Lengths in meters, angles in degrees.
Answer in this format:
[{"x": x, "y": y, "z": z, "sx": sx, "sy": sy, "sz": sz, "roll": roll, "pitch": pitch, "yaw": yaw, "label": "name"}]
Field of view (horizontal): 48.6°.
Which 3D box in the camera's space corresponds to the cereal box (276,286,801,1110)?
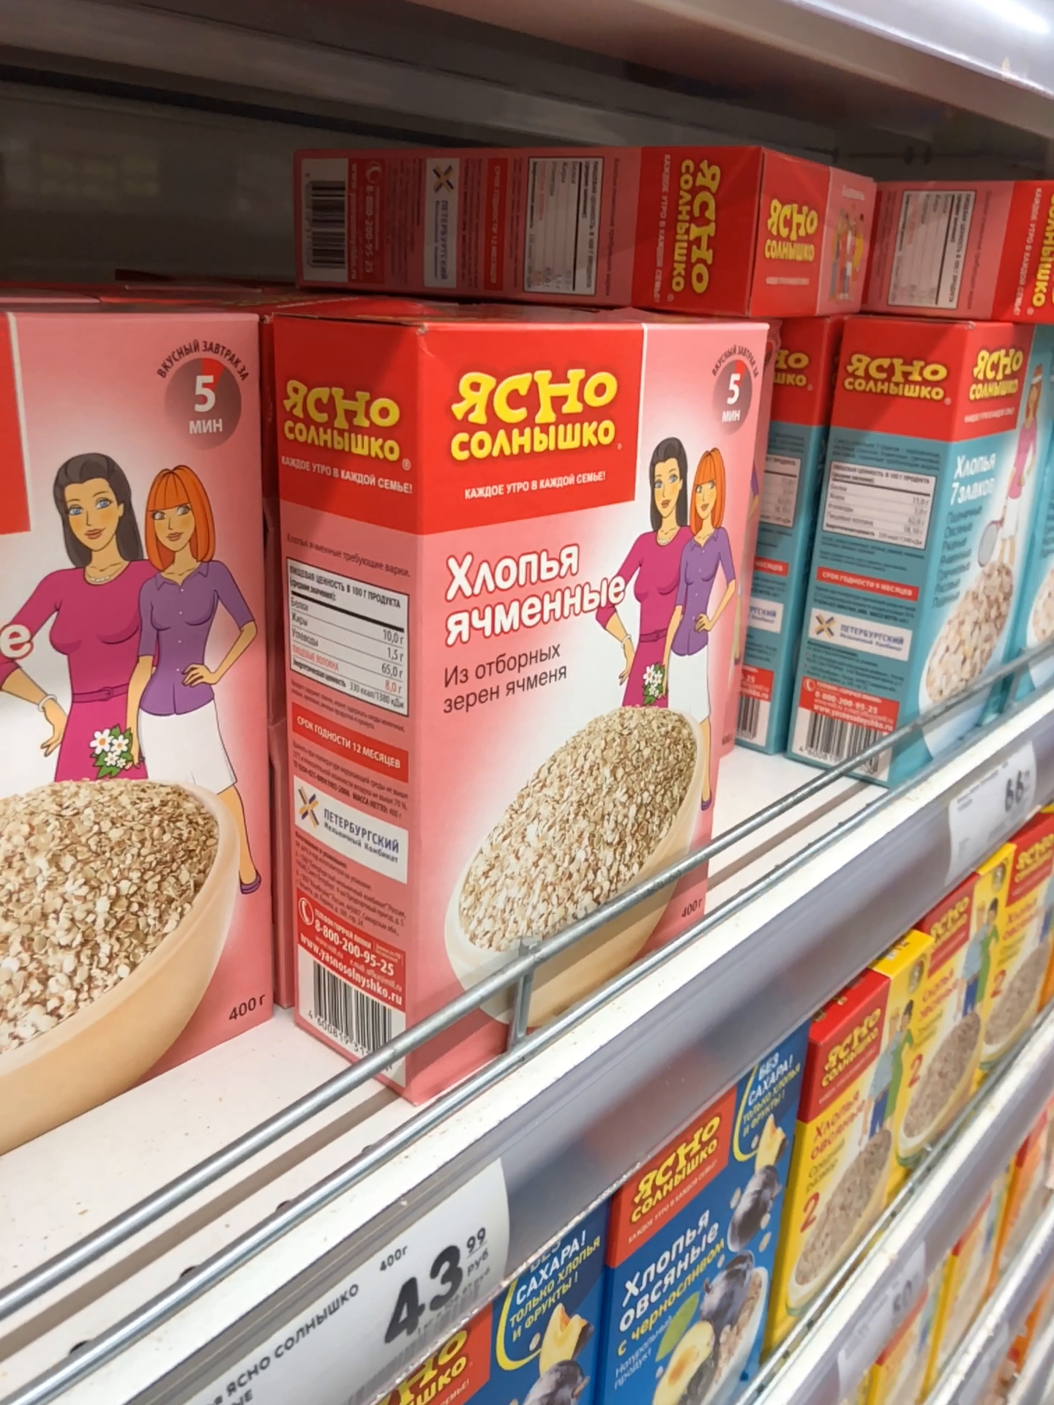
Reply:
[{"x": 0.007, "y": -0.012, "z": 0.321, "sx": 0.050, "sy": 0.189, "sz": 0.140, "roll": 19, "pitch": 25, "yaw": 38, "label": "cereal box"}]
